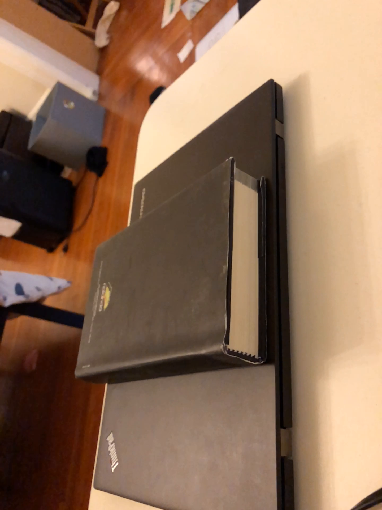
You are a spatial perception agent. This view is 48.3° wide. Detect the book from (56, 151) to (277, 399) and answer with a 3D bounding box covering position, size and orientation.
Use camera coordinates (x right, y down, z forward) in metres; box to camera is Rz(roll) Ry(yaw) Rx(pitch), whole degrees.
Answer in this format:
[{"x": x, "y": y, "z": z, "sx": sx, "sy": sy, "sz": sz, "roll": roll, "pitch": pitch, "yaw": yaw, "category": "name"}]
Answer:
[{"x": -0.032, "y": 0.035, "z": 0.353, "sx": 0.231, "sy": 0.040, "sz": 0.150, "roll": -23, "pitch": 54, "yaw": 47, "category": "book"}]
